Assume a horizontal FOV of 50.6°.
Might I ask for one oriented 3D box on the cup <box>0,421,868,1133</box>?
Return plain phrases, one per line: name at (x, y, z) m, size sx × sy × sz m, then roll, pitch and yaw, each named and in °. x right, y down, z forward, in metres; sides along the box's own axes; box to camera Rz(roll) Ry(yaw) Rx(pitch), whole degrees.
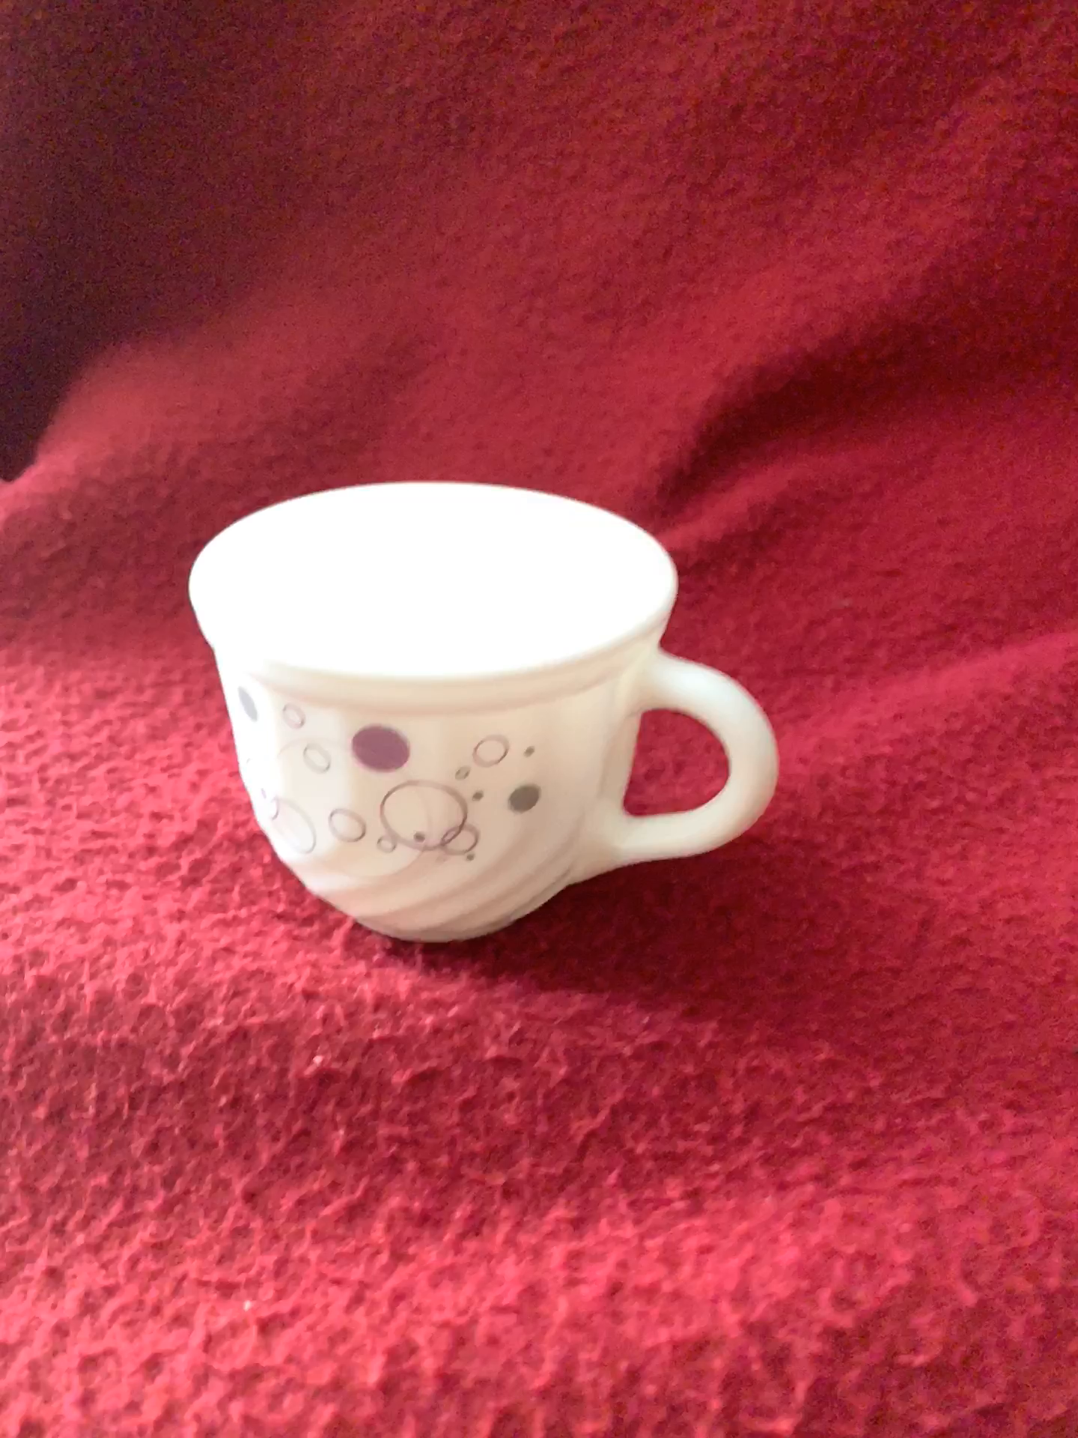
cup at (-0.013, -0.002, 0.179) m, size 0.100 × 0.050 × 0.081 m, roll 18°, pitch 37°, yaw 24°
